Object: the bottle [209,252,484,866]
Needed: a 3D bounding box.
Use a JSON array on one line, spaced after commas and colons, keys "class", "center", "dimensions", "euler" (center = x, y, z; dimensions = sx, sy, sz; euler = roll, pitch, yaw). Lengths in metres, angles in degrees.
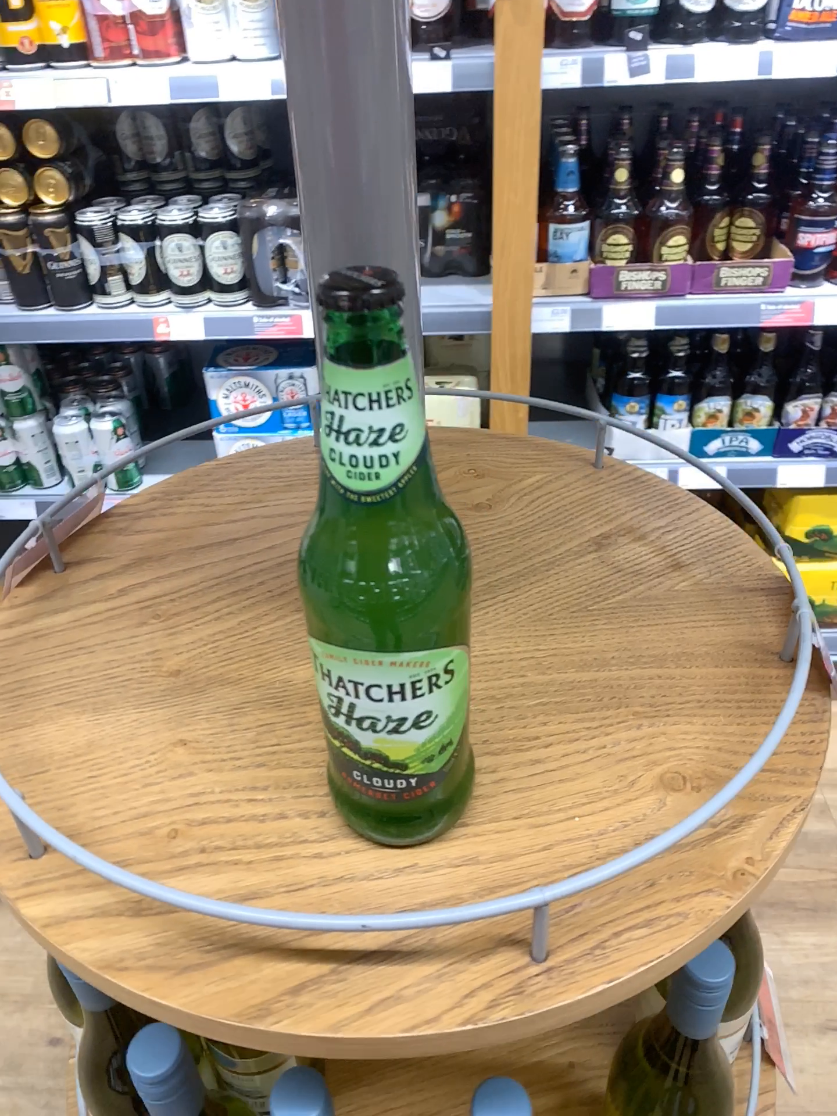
[{"class": "bottle", "center": [-0.014, 0.012, 0.344], "dimensions": [0.069, 0.240, 0.079], "euler": [6, 36, 12]}]
